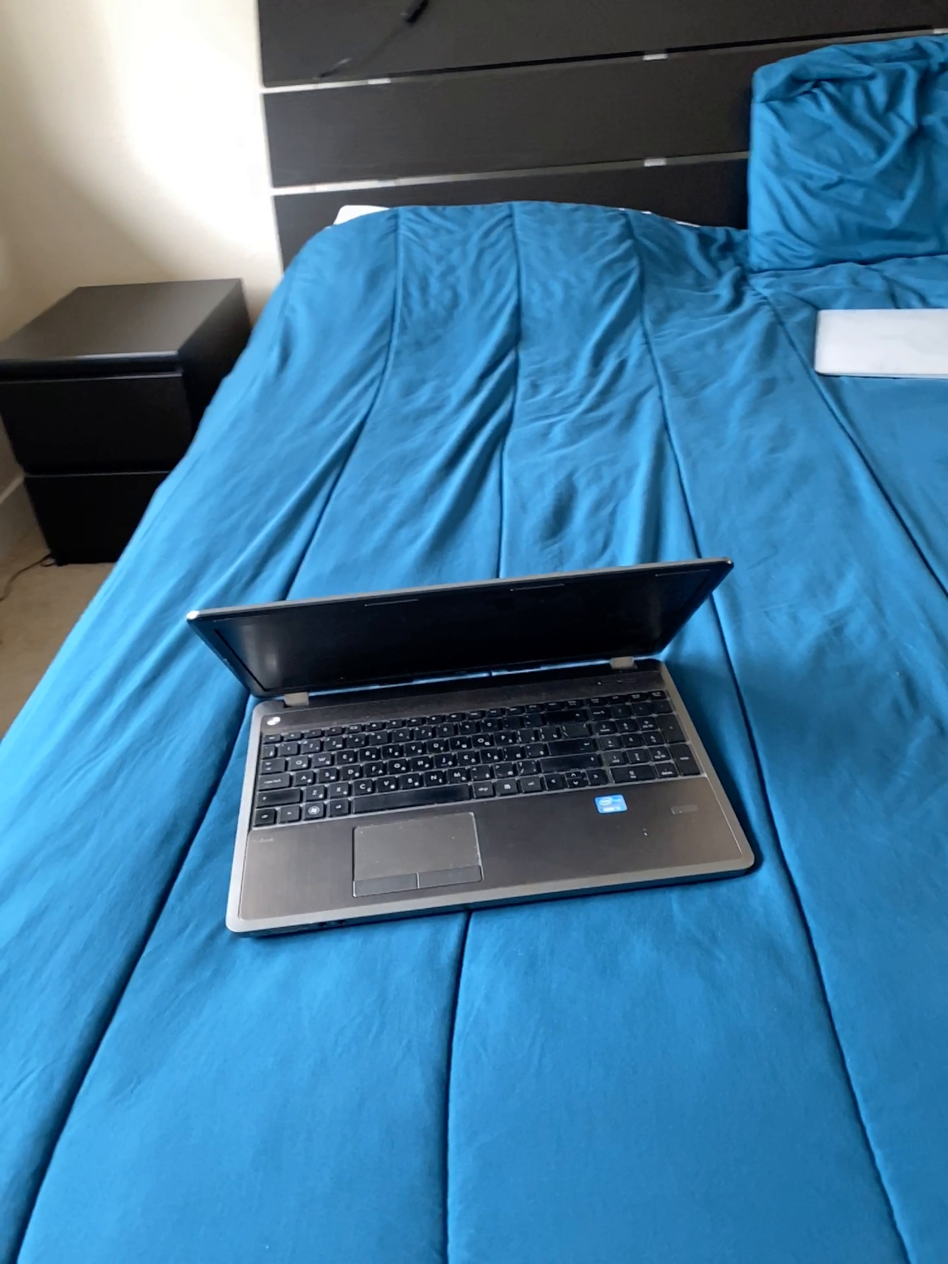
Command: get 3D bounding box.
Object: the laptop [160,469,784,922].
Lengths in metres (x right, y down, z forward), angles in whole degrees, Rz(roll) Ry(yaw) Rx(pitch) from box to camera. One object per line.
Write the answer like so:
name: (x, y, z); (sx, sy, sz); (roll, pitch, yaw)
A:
laptop: (-0.005, 0.033, 0.727); (0.369, 0.192, 0.256); (-6, 33, -3)
